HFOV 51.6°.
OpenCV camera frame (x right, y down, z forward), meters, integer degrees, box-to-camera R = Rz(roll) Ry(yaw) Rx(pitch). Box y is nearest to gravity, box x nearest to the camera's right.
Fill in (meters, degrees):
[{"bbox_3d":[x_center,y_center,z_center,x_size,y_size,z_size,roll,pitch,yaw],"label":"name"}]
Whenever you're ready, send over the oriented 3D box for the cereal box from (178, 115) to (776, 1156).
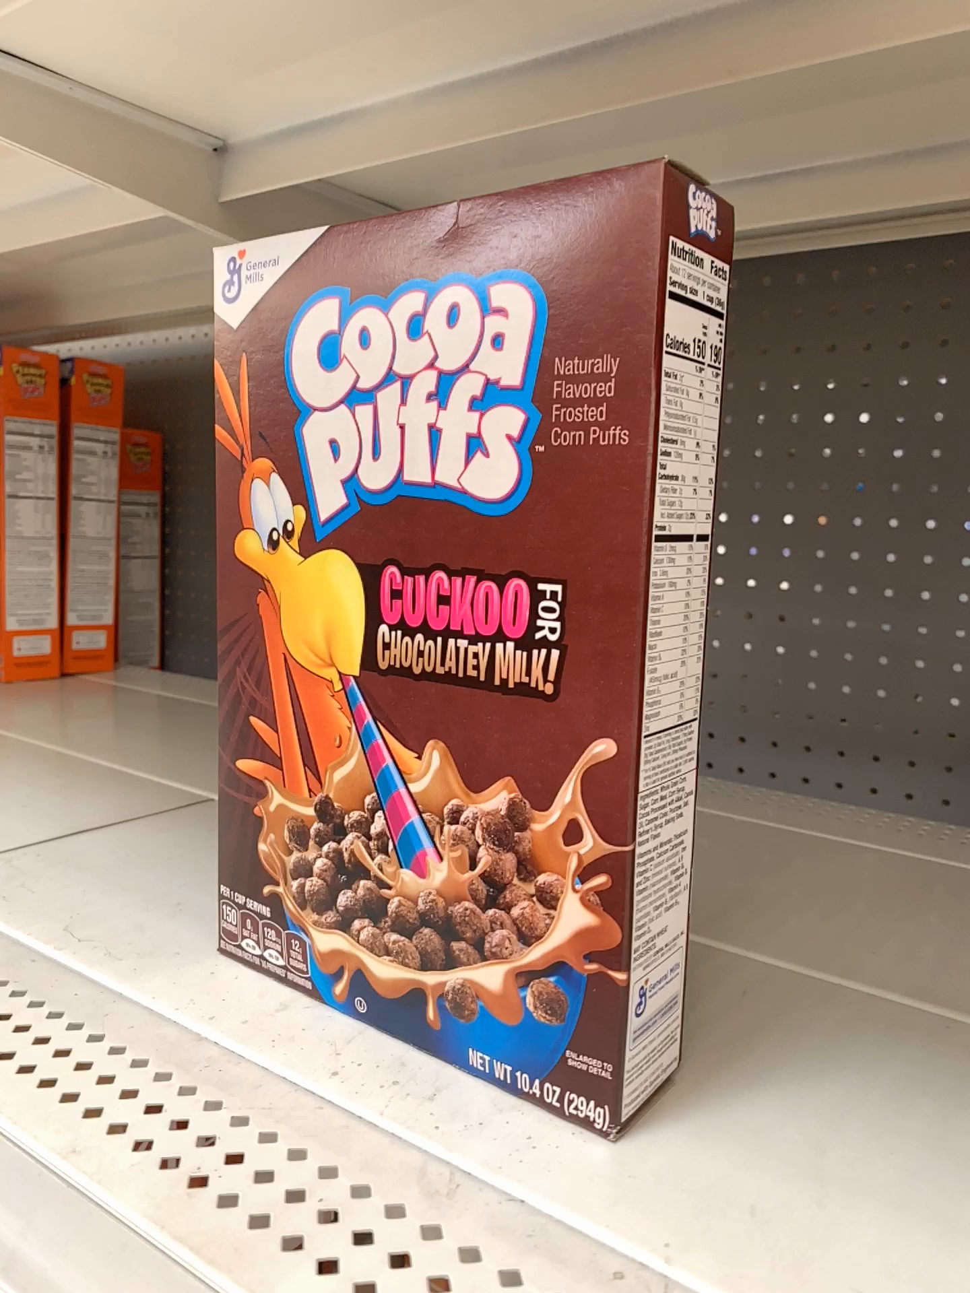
[{"bbox_3d":[-0.018,-0.007,0.329,0.200,0.259,0.050,7,9,38],"label":"cereal box"}]
